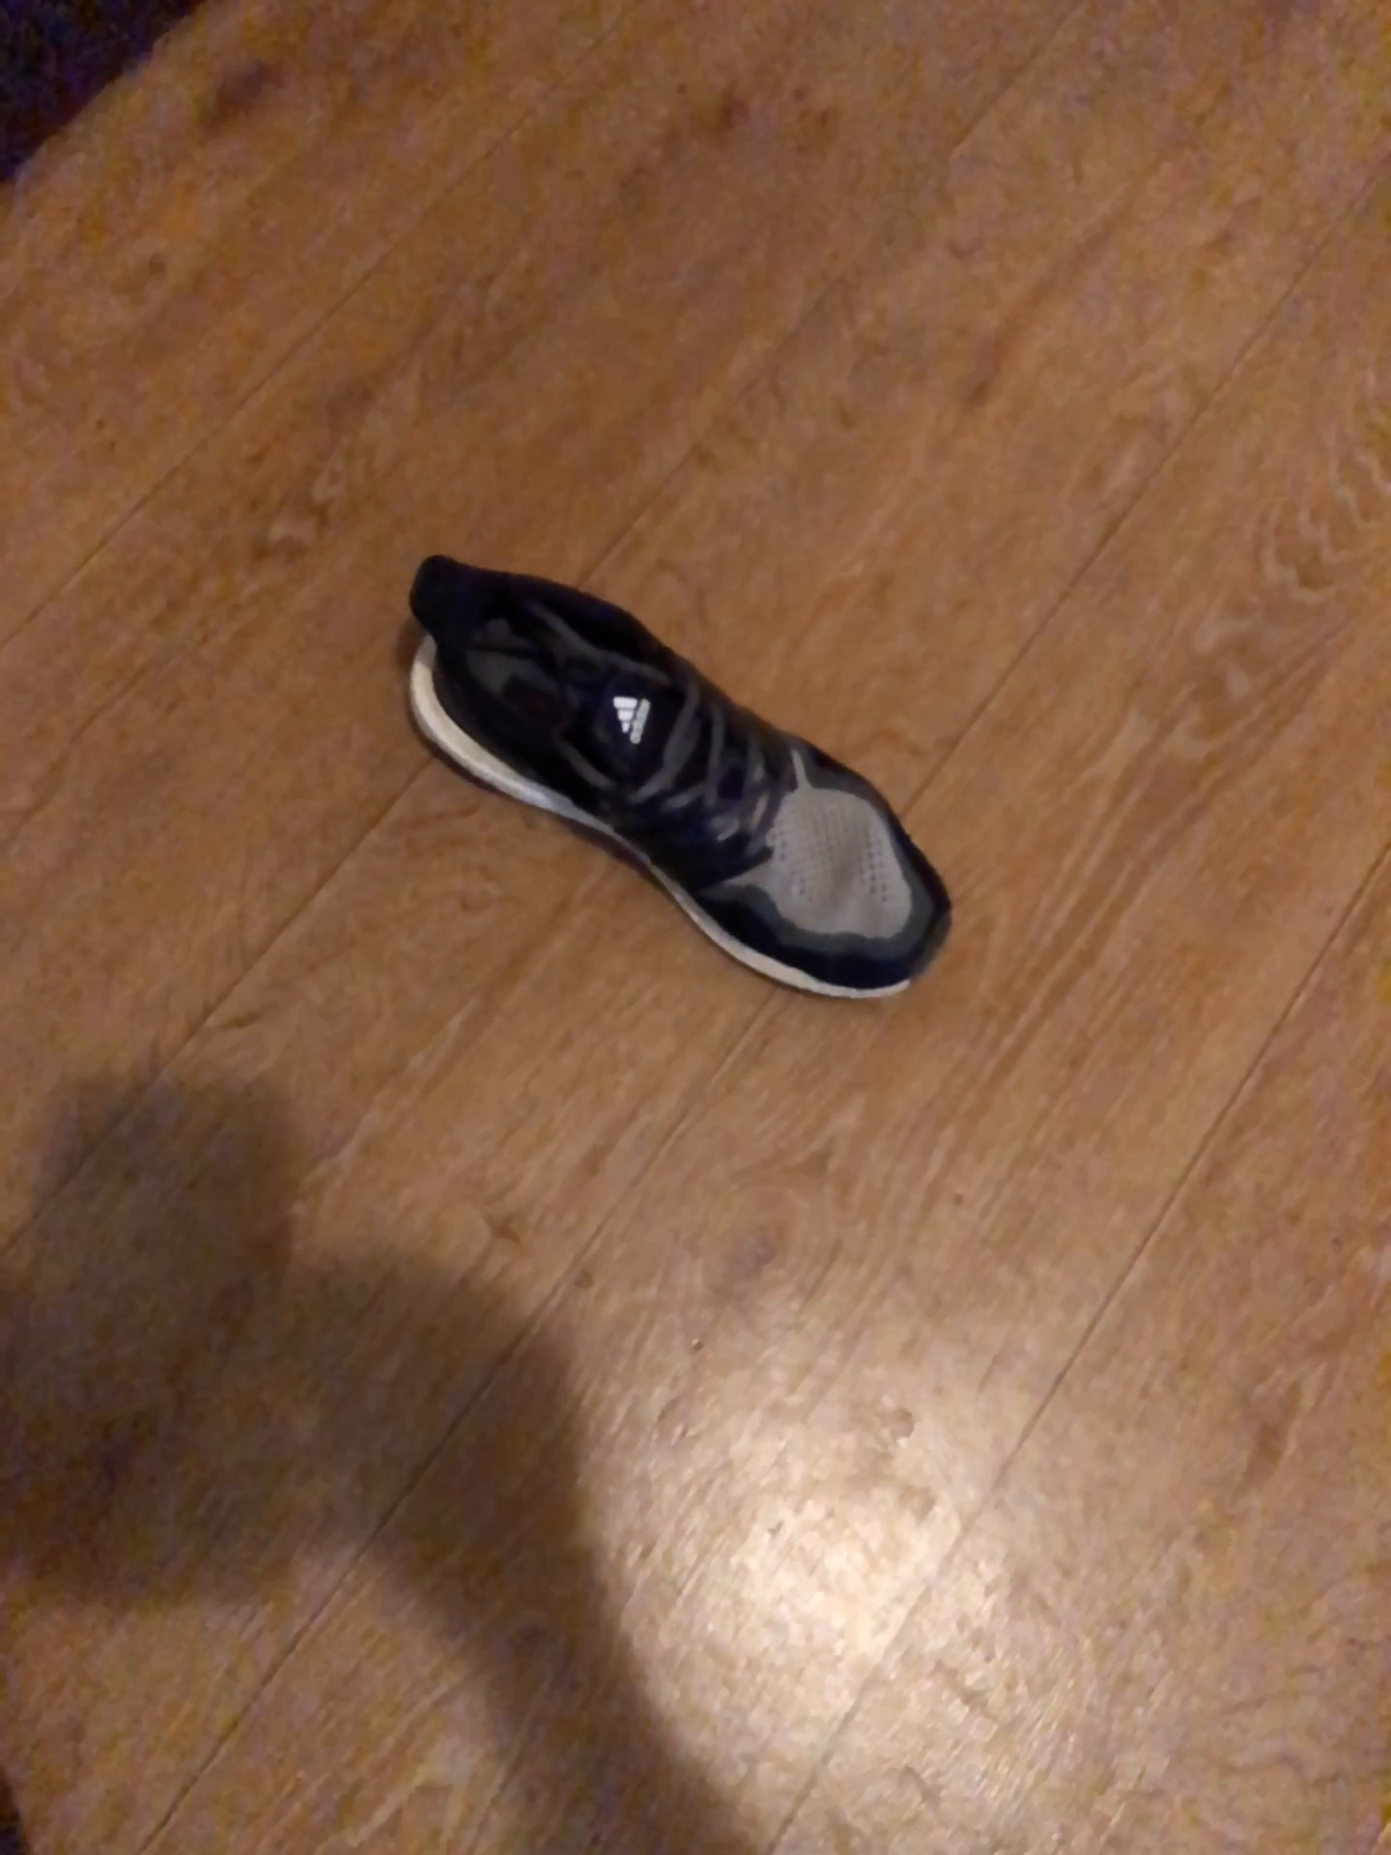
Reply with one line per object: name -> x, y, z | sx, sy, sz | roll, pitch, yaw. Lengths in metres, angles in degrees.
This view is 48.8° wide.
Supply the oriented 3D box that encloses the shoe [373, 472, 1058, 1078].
shoe -> 0.005, -0.066, 0.686 | 0.270, 0.100, 0.113 | 35, 74, 8
